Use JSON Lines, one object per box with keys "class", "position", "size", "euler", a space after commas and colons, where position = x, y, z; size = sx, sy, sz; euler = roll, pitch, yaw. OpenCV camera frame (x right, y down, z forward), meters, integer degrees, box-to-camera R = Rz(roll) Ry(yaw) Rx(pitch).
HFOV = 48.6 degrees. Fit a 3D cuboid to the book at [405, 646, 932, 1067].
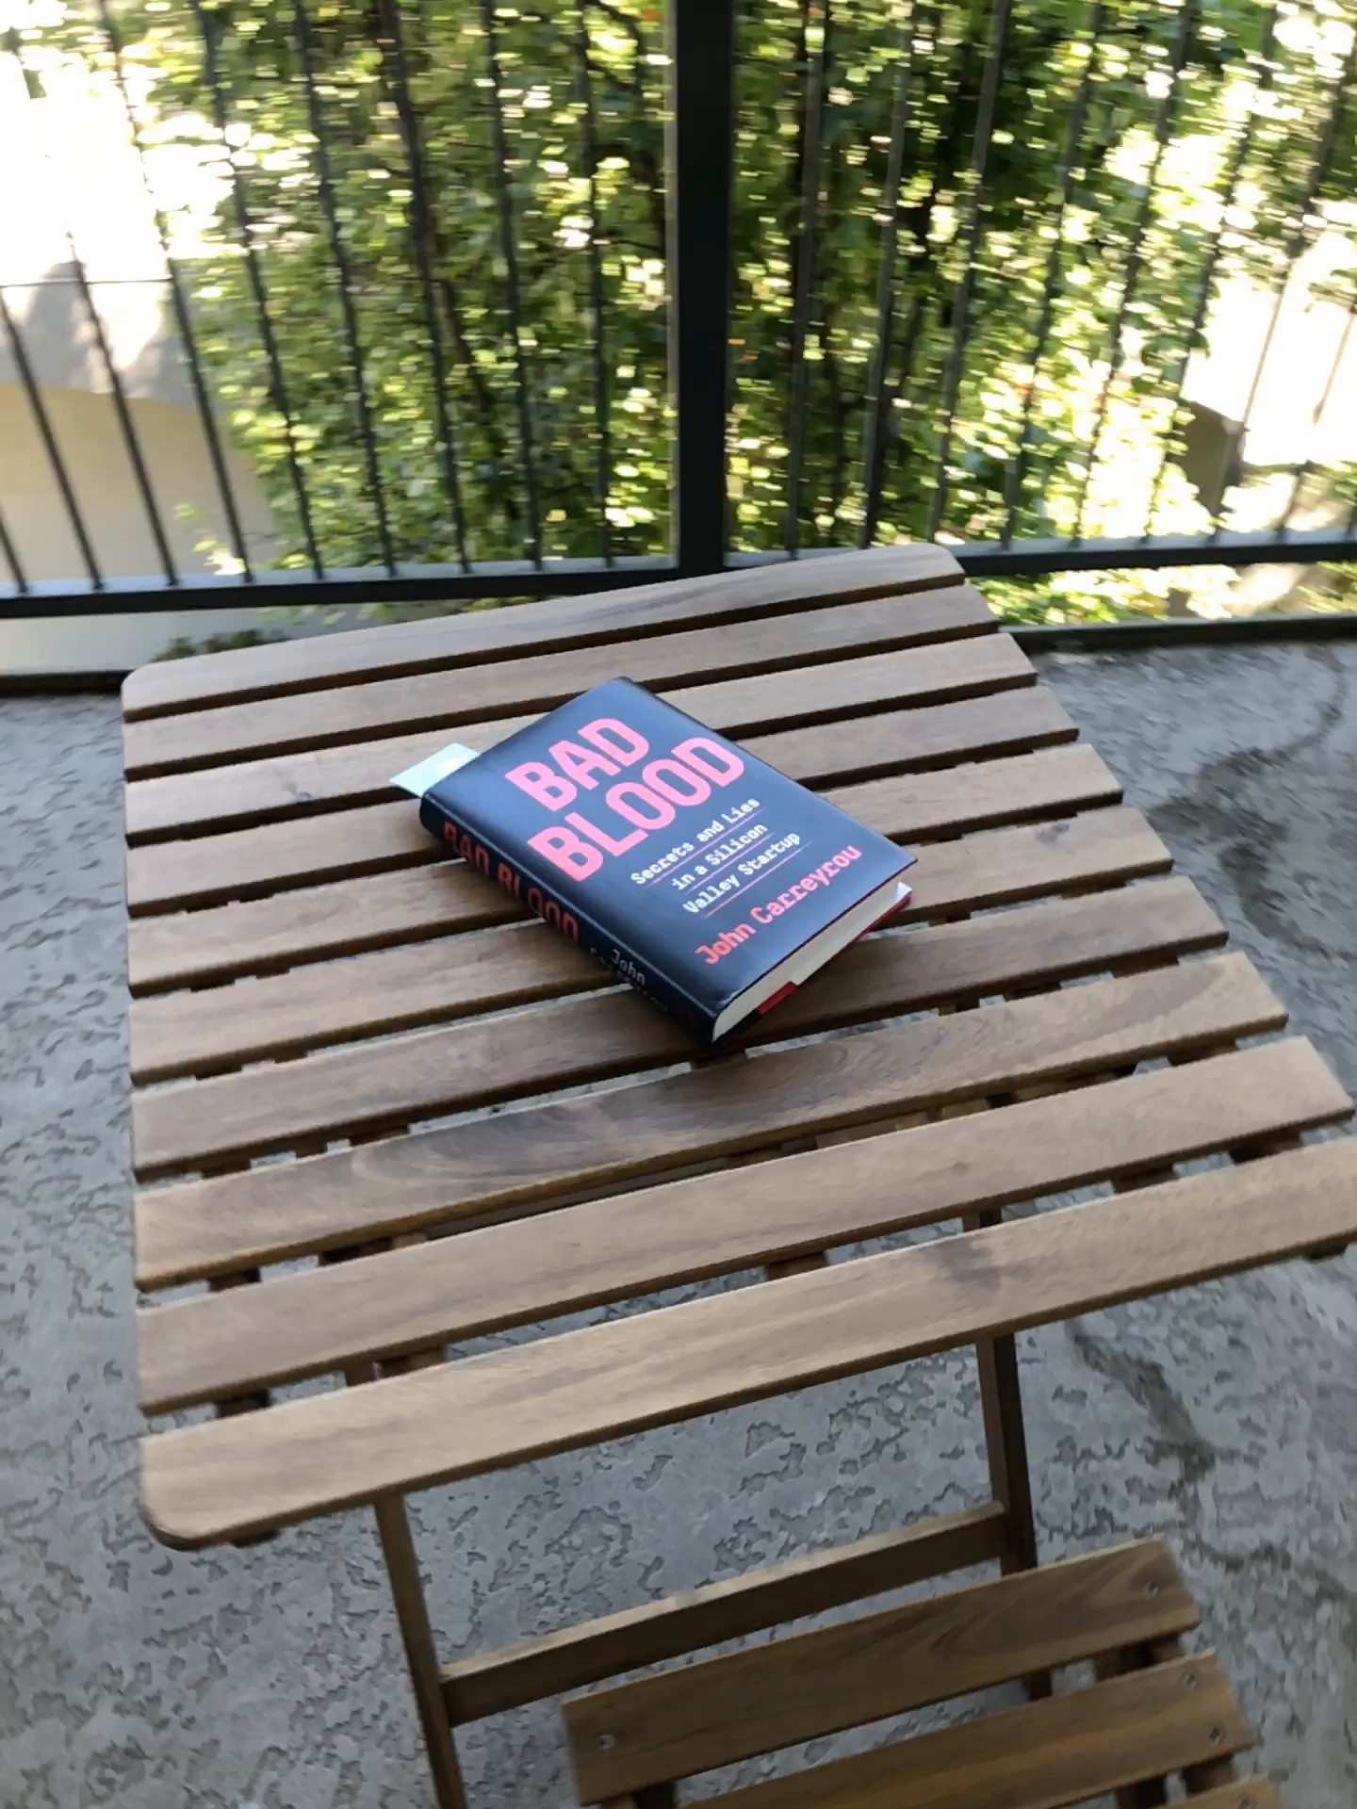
{"class": "book", "position": [-0.008, -0.040, 0.865], "size": [0.240, 0.050, 0.180], "euler": [35, 55, 29]}
